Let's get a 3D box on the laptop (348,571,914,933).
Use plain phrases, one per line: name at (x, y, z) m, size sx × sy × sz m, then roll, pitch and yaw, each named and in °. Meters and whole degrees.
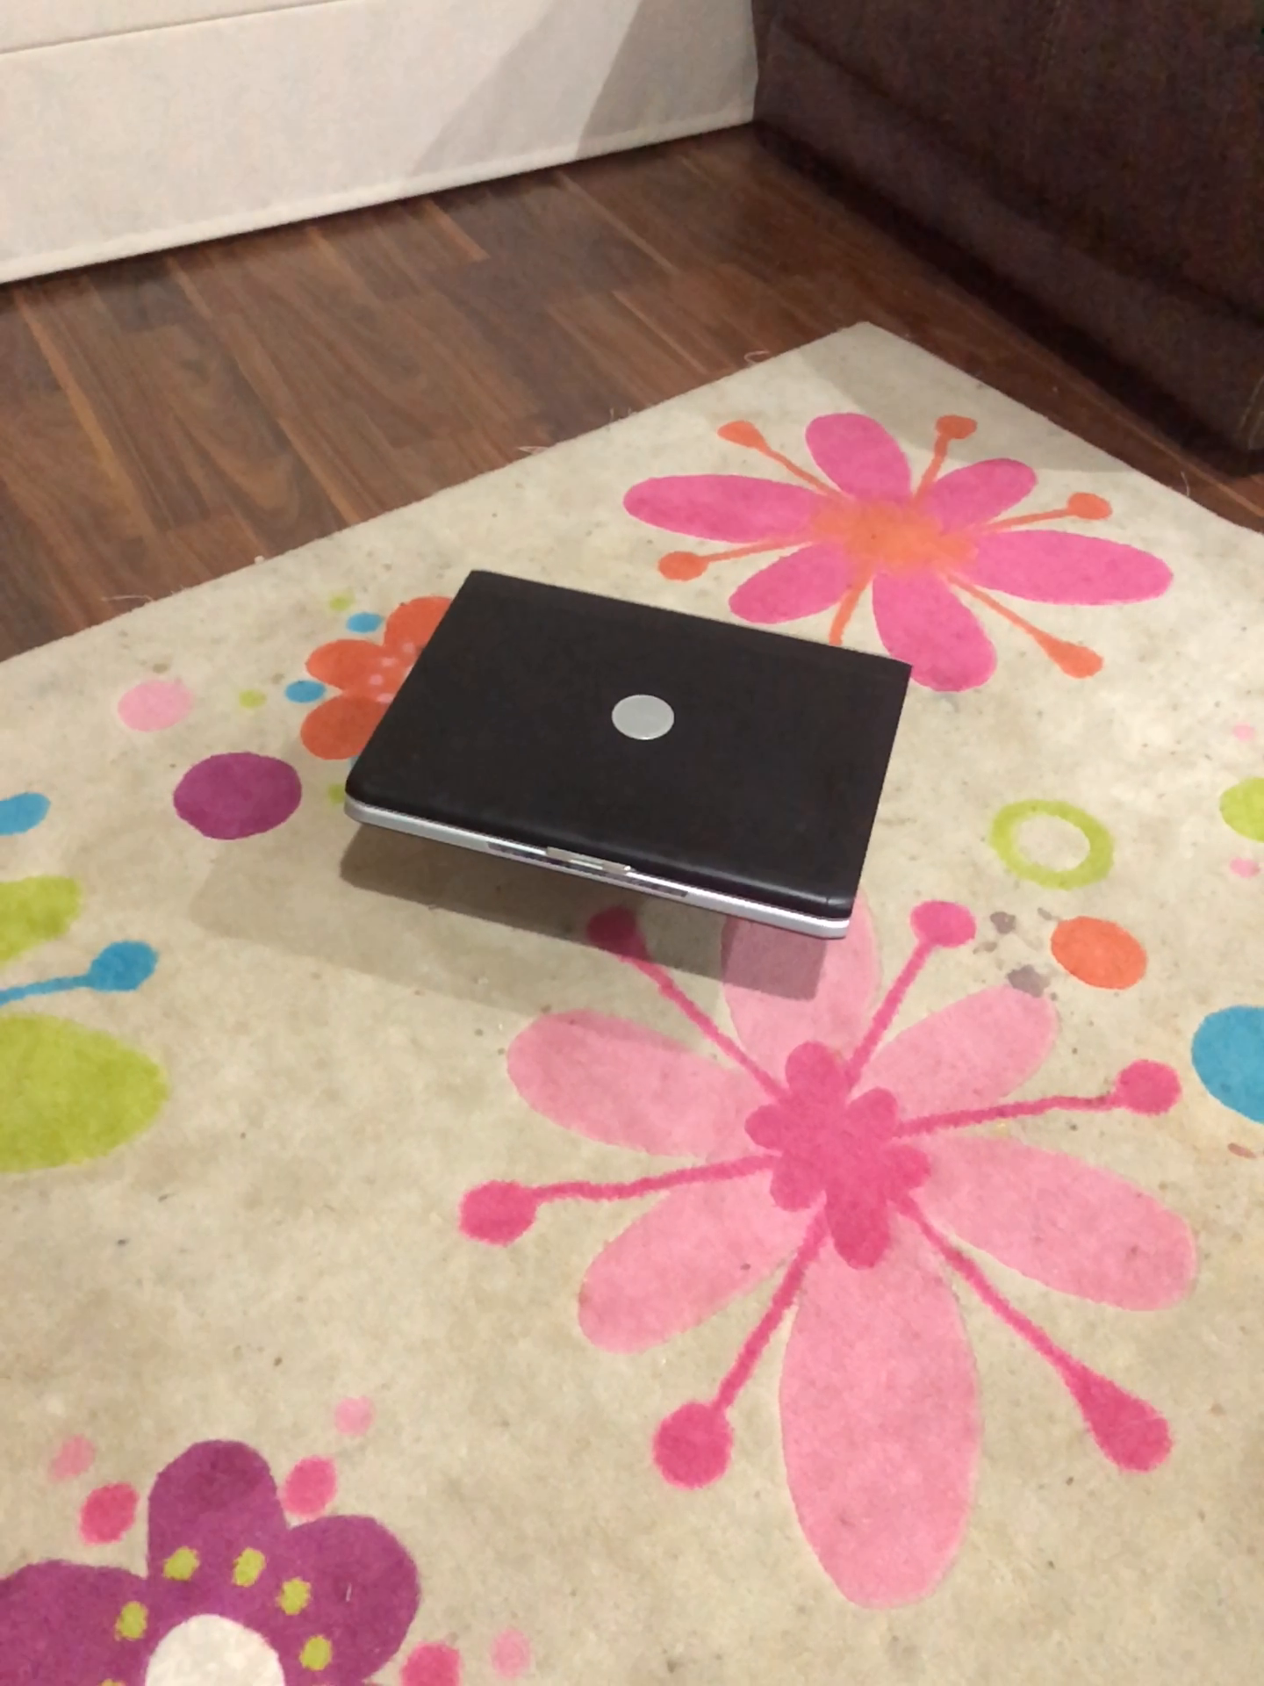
laptop at (0.005, -0.078, 0.993) m, size 0.353 × 0.015 × 0.233 m, roll 14°, pitch 54°, yaw 13°
